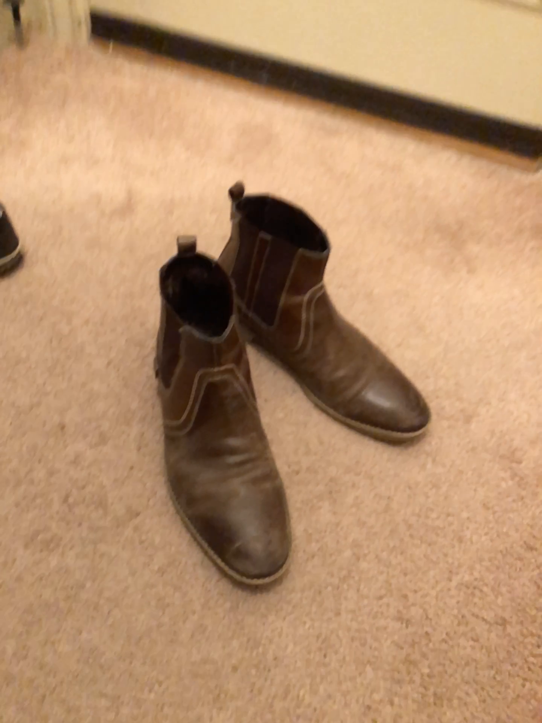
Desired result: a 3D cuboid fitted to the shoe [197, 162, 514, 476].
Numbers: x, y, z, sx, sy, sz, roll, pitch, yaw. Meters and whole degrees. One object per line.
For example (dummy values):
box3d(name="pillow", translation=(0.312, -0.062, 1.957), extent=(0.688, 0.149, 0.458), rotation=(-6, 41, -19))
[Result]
box3d(name="shoe", translation=(0.068, -0.049, 0.638), extent=(0.298, 0.158, 0.119), rotation=(40, 58, 20))

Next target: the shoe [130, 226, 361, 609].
box3d(name="shoe", translation=(-0.043, 0.042, 0.554), extent=(0.119, 0.158, 0.299), rotation=(-9, 56, -15))
